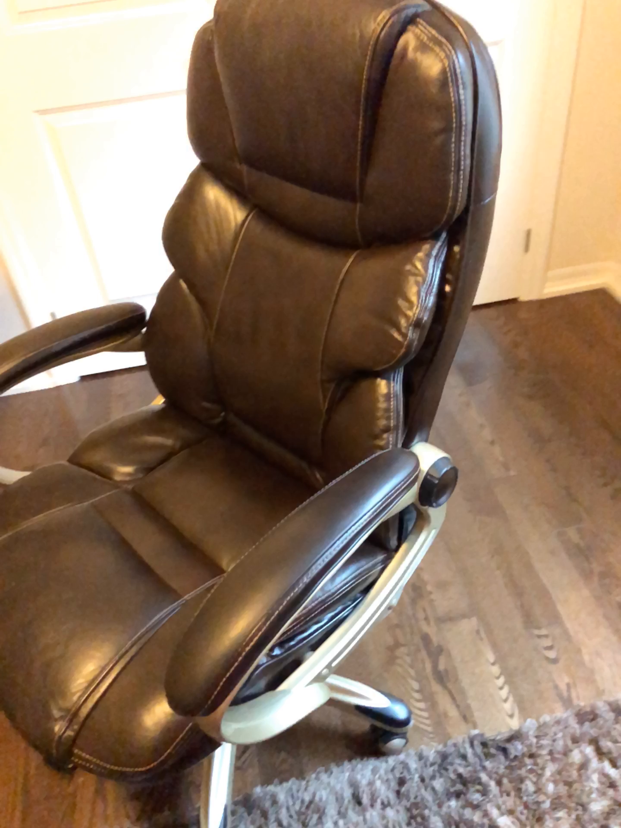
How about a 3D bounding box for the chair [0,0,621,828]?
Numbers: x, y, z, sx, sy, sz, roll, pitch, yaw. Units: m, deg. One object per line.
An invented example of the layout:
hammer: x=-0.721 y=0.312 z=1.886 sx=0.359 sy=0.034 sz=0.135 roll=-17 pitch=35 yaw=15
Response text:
chair: x=-0.206 y=0.080 z=0.984 sx=0.741 sy=1.135 sz=0.732 roll=-32 pitch=45 yaw=-27
